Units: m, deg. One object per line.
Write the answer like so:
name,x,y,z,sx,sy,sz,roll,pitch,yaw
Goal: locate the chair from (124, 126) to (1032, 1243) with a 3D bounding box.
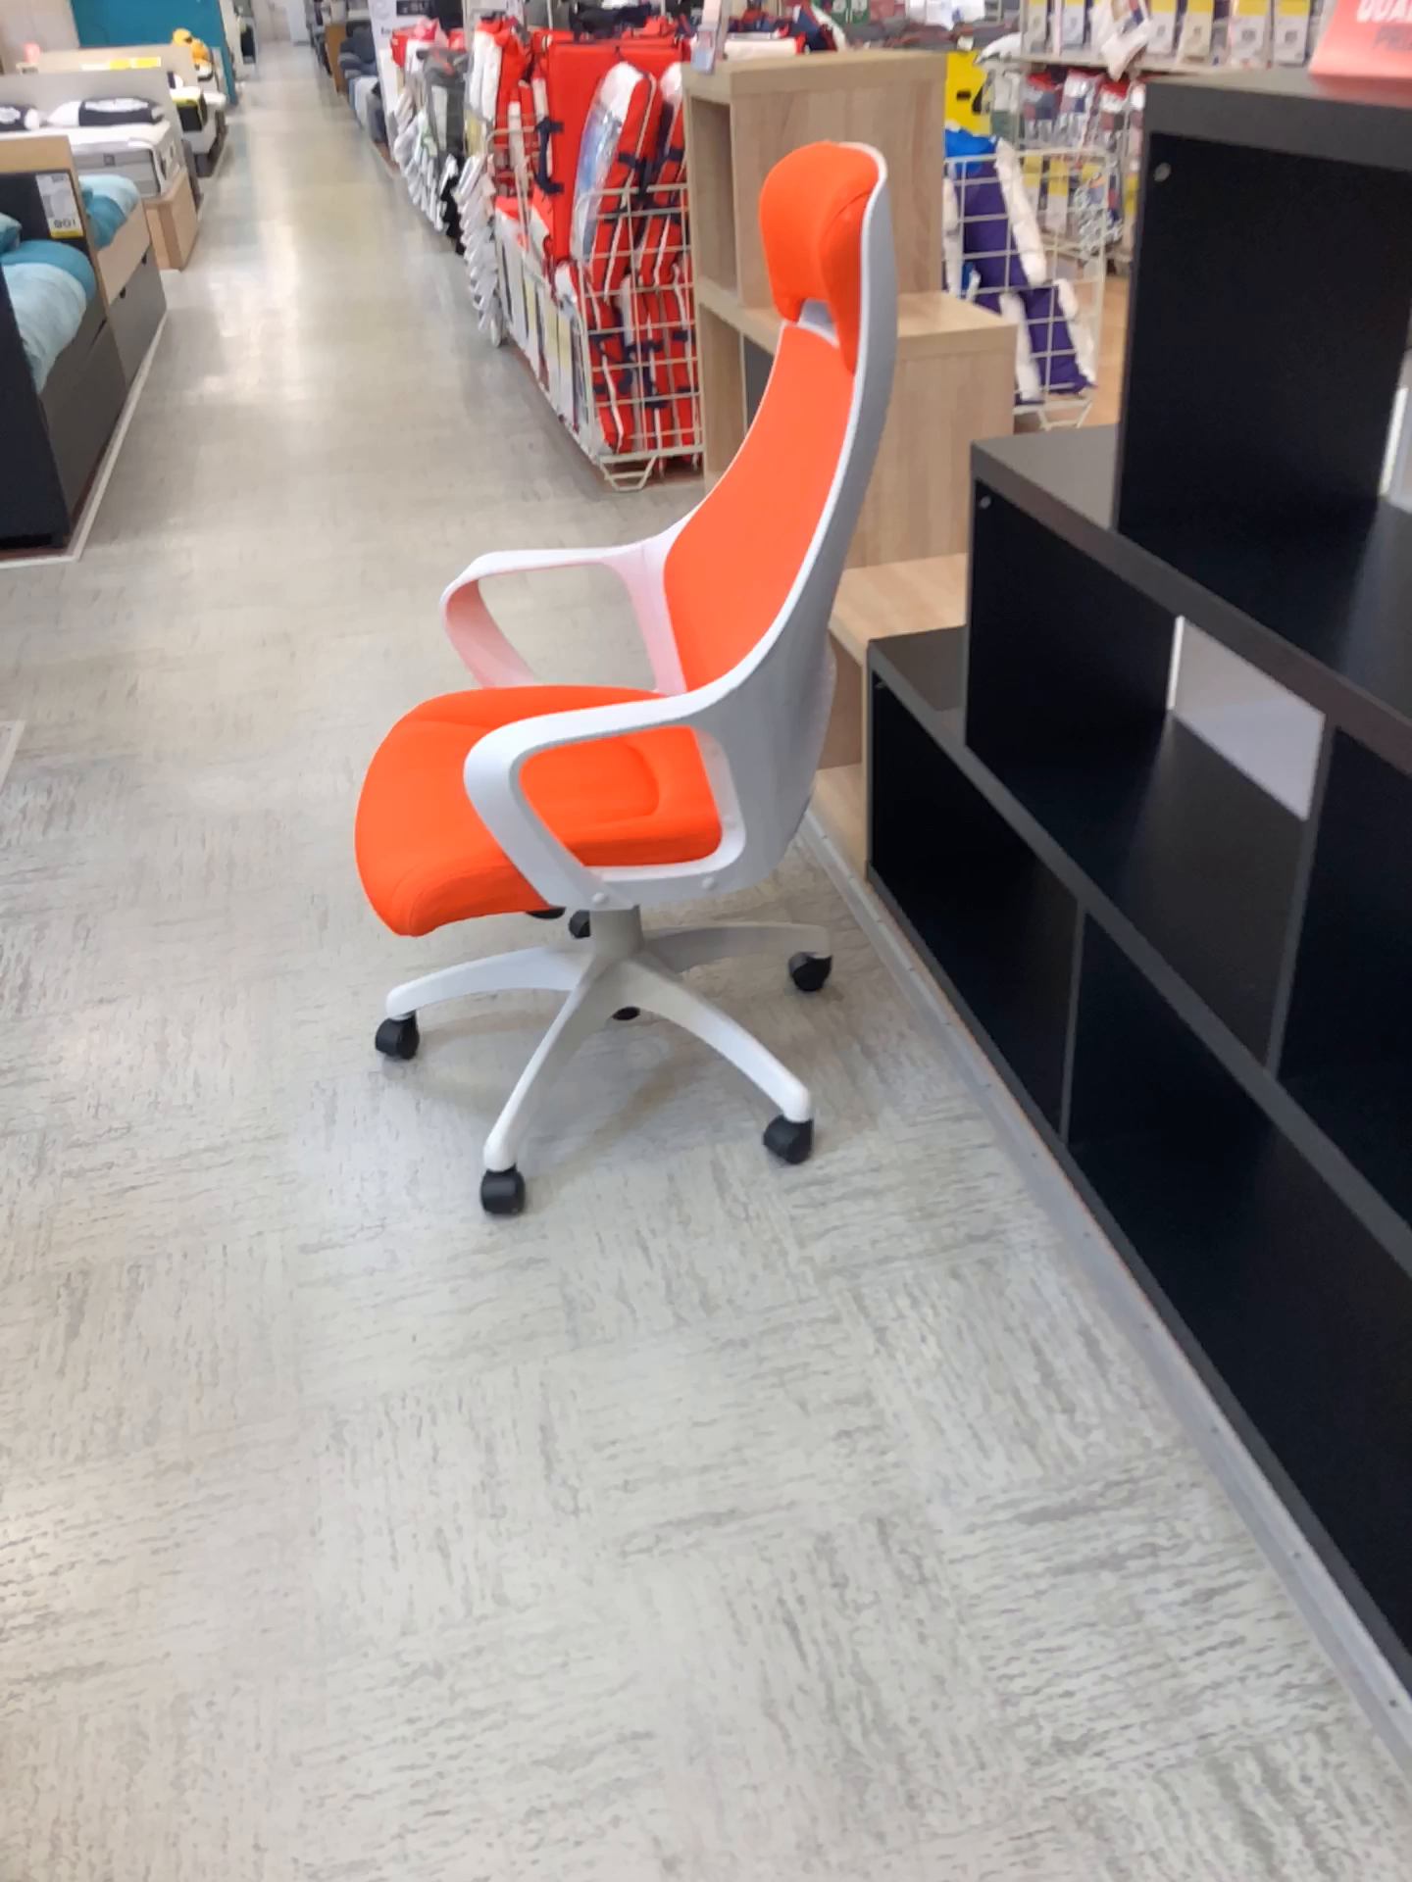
chair,-0.117,-0.327,1.825,0.751,1.054,0.684,-8,31,-6
